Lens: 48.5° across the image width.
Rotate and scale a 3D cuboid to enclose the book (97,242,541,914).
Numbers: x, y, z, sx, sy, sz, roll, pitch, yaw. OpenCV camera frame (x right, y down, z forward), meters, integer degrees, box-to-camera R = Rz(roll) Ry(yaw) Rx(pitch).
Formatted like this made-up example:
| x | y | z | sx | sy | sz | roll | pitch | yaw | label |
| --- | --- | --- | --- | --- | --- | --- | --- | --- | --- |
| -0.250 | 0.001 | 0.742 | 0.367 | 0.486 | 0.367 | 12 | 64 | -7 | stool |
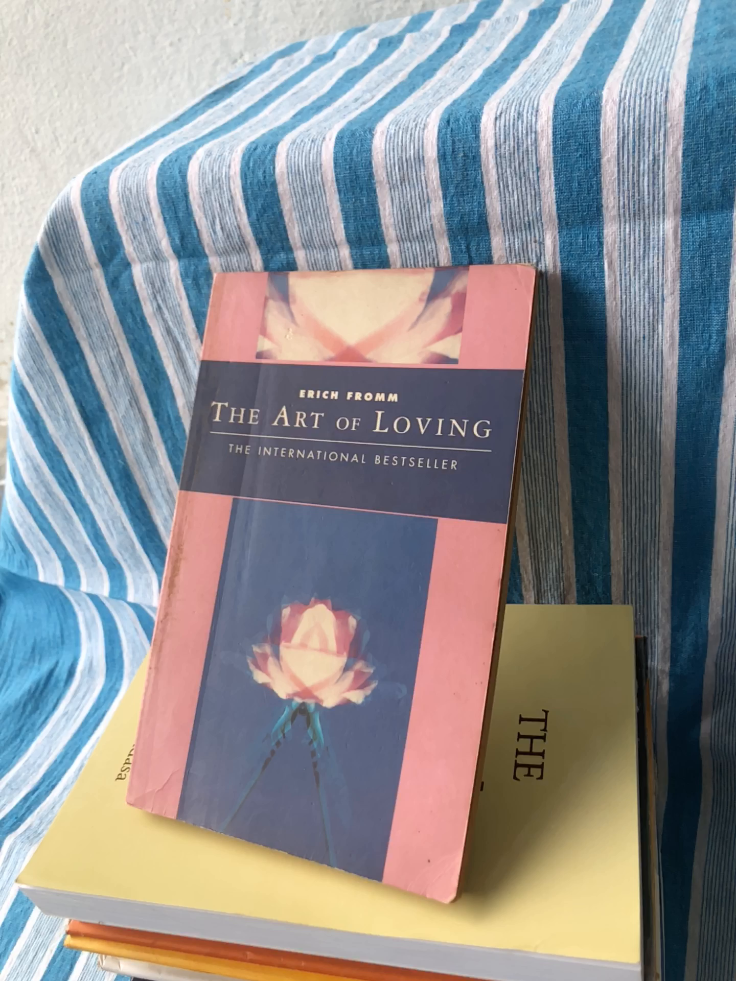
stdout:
| x | y | z | sx | sy | sz | roll | pitch | yaw | label |
| --- | --- | --- | --- | --- | --- | --- | --- | --- | --- |
| -0.019 | 0.017 | 0.269 | 0.129 | 0.015 | 0.193 | 4 | 82 | 26 | book |
